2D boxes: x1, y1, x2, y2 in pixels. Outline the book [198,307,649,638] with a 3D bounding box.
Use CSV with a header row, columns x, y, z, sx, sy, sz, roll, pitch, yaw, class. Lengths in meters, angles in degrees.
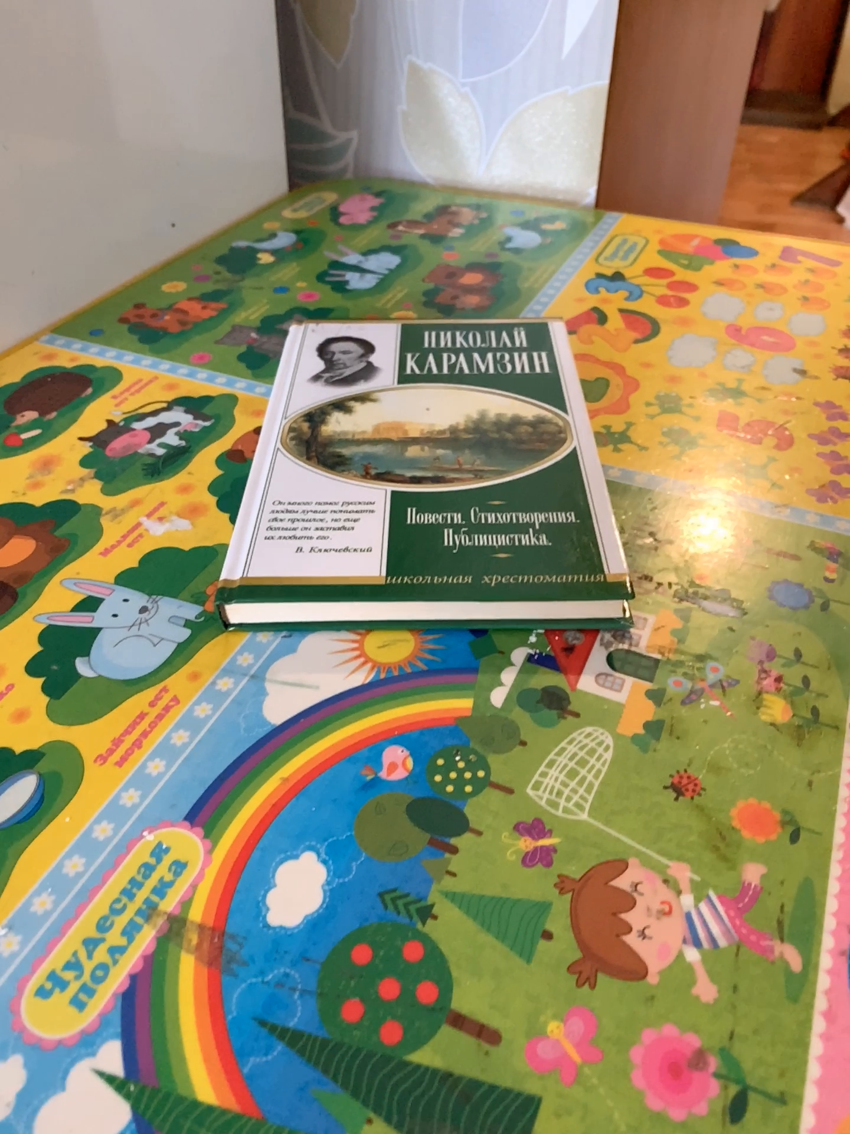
x,y,z,sx,sy,sz,roll,pitch,yaw,class
0.000,-0.050,0.348,0.136,0.020,0.198,-1,40,1,book
